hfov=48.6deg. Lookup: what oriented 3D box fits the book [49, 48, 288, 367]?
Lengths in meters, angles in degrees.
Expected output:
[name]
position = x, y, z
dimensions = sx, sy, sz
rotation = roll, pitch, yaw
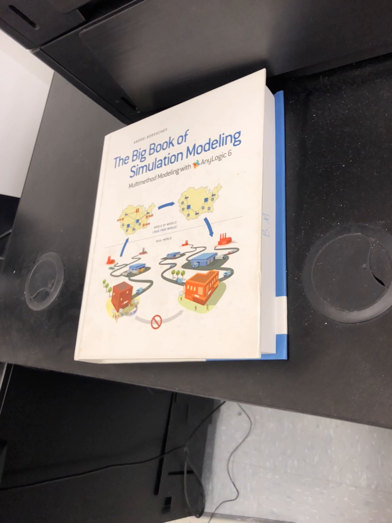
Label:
[book]
position = -0.026, -0.035, 0.395
dimensions = 0.211, 0.050, 0.250
rotation = -10, 67, 34
